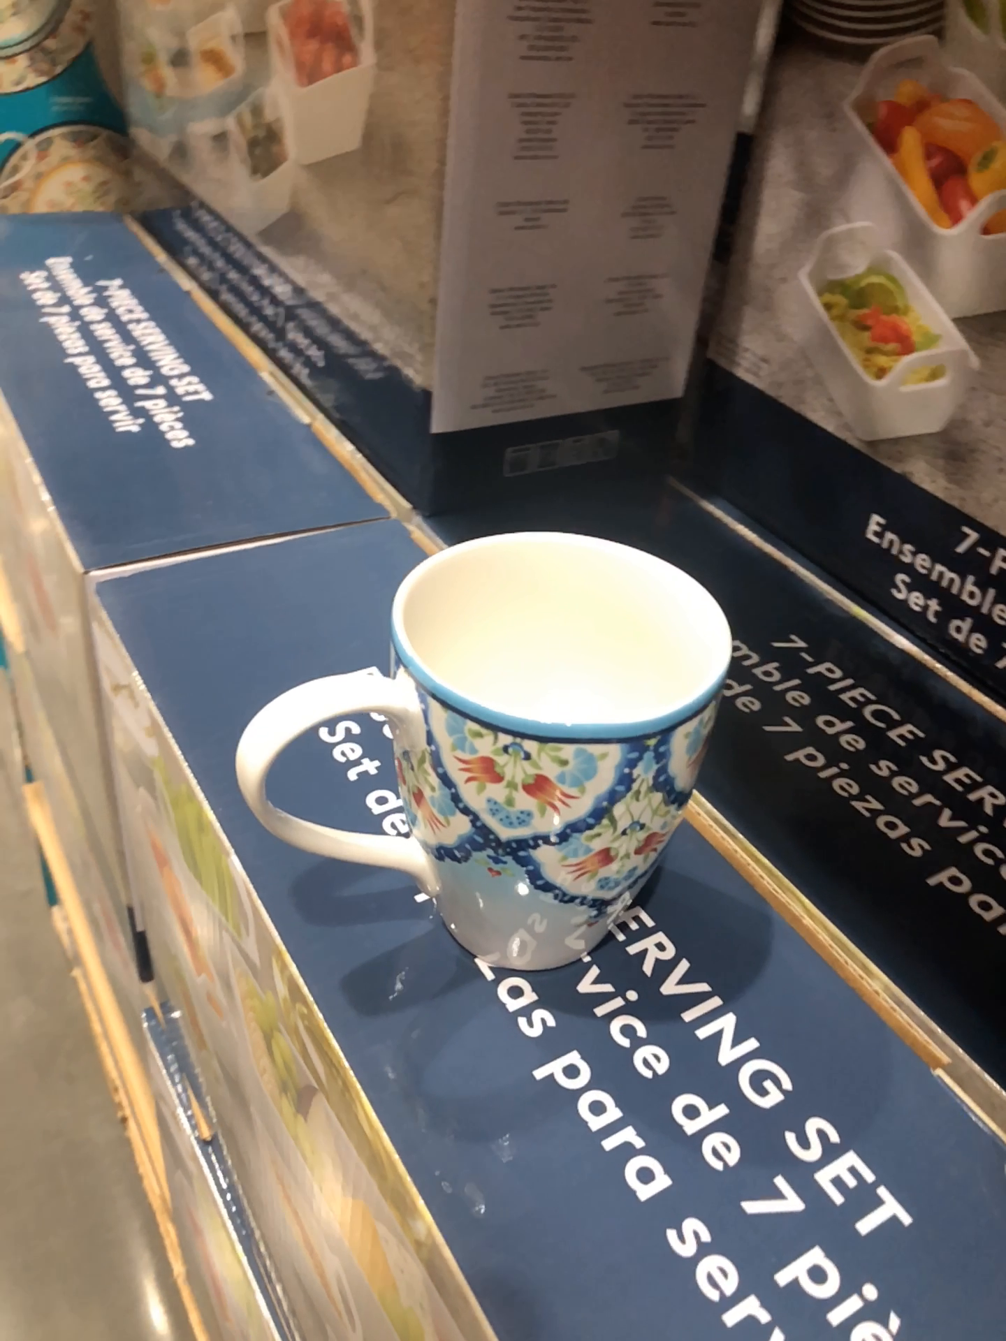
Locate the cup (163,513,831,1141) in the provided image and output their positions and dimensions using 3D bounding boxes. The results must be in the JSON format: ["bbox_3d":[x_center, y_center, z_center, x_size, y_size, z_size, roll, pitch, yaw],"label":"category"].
[{"bbox_3d":[-0.005,0.032,0.298,0.137,0.096,0.090,-15,41,-29],"label":"cup"}]
